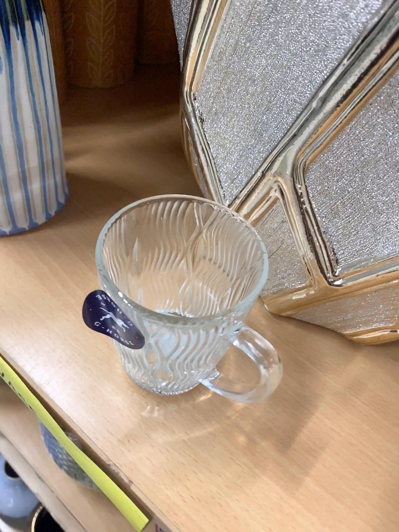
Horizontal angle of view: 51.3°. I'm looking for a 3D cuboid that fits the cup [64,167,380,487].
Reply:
[{"bbox_3d":[0.004,0.022,0.183,0.100,0.070,0.070,36,51,20],"label":"cup"}]
